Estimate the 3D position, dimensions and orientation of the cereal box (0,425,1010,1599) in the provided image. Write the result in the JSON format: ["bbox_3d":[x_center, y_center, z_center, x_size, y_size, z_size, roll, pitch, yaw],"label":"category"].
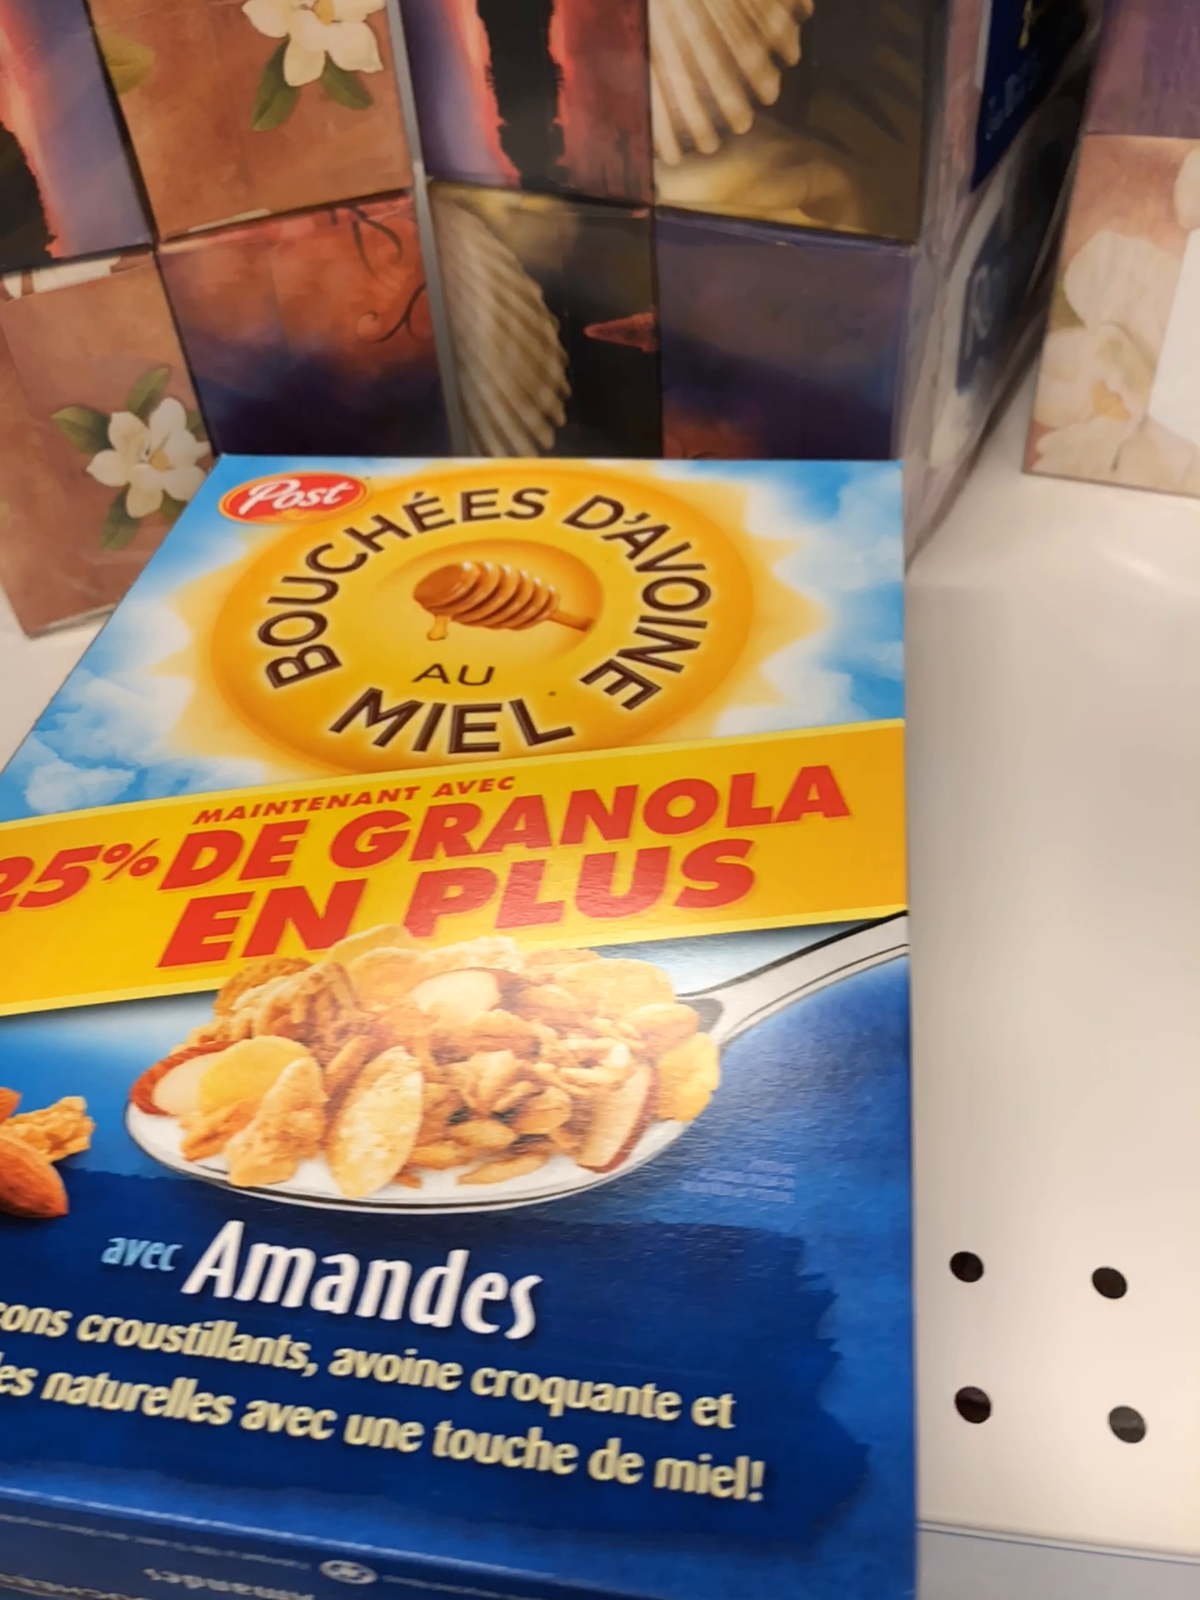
[{"bbox_3d":[-0.035,0.014,0.279,0.210,0.050,0.271,4,44,9],"label":"cereal box"}]
